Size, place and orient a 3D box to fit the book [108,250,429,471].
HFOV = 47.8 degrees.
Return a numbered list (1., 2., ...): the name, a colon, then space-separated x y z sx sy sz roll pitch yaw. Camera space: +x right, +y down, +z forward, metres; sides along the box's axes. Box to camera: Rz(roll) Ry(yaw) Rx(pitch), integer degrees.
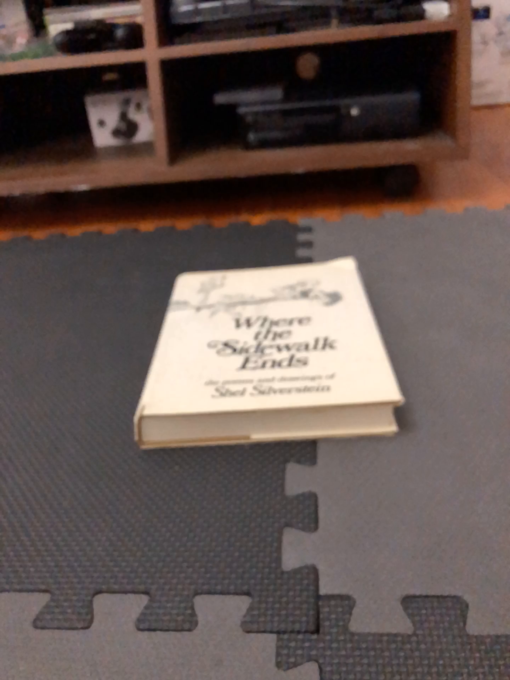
1. book: 0.012 -0.003 0.487 0.200 0.030 0.282 -4 29 4
